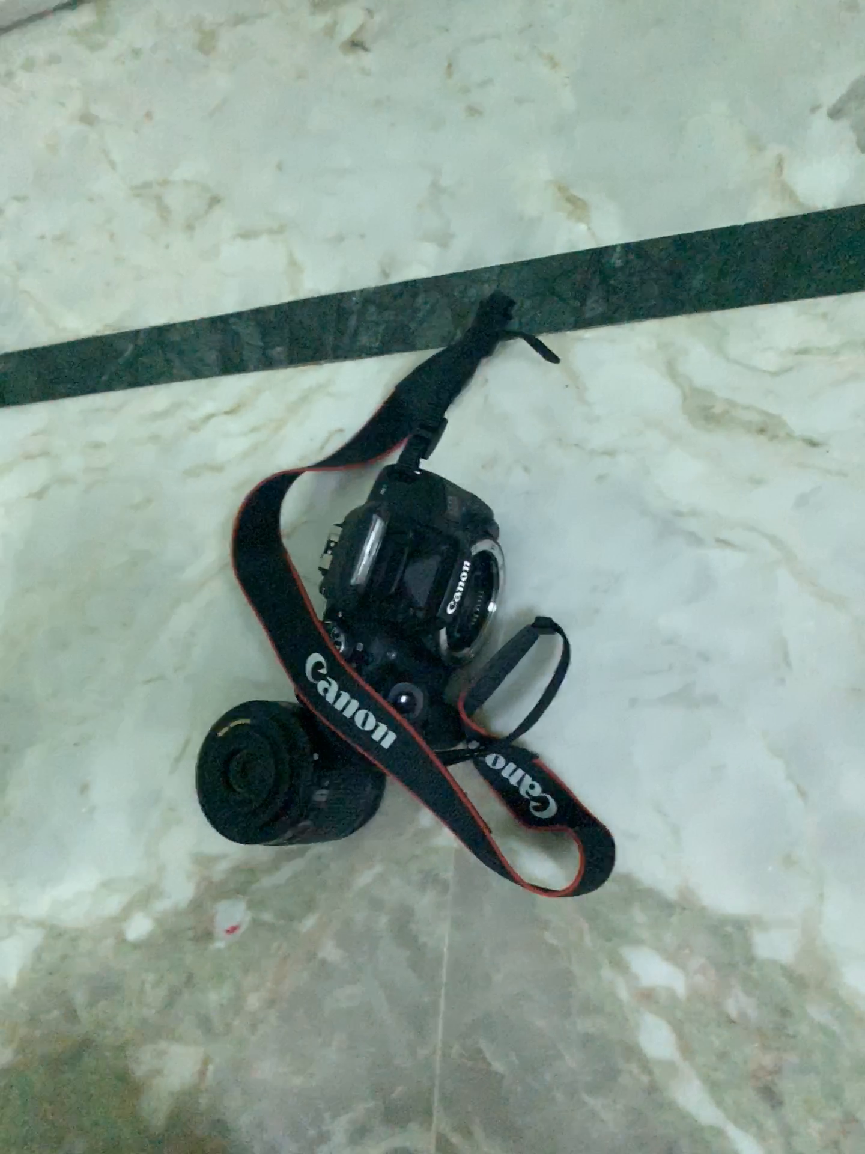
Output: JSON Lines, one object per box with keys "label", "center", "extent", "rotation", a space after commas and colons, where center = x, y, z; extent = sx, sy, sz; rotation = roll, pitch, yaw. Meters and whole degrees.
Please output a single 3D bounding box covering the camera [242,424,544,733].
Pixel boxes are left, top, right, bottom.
{"label": "camera", "center": [-0.015, 0.002, 0.415], "extent": [0.082, 0.078, 0.112], "rotation": [16, 84, 28]}
